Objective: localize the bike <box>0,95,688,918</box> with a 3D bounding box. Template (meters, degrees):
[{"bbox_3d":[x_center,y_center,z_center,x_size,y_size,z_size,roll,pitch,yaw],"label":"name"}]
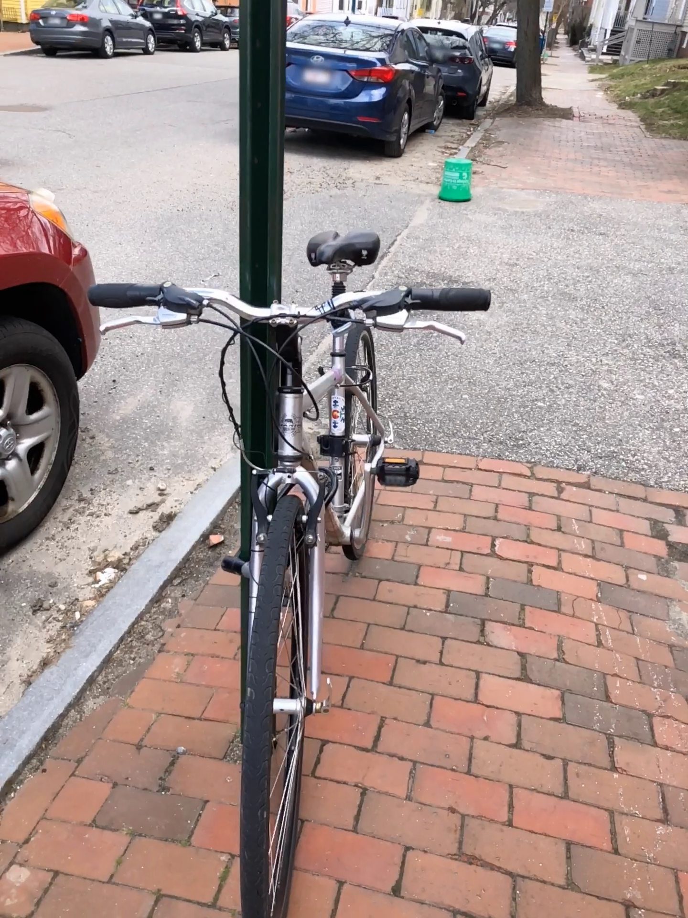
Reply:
[{"bbox_3d":[-0.055,-0.043,1.482,0.608,1.011,1.569,8,24,3],"label":"bike"}]
